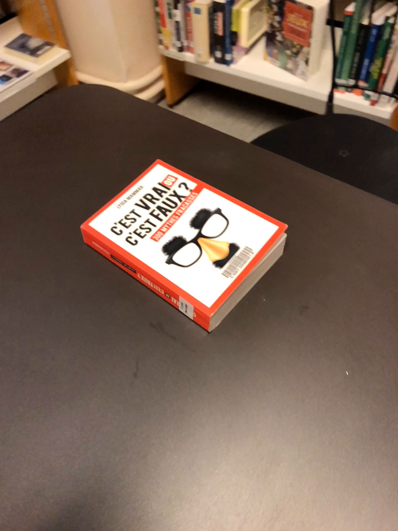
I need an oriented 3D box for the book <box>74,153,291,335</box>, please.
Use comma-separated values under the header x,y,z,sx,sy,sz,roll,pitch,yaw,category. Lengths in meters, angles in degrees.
x,y,z,sx,sy,sz,roll,pitch,yaw,category
-0.018,-0.032,0.459,0.184,0.034,0.127,33,66,25,book
